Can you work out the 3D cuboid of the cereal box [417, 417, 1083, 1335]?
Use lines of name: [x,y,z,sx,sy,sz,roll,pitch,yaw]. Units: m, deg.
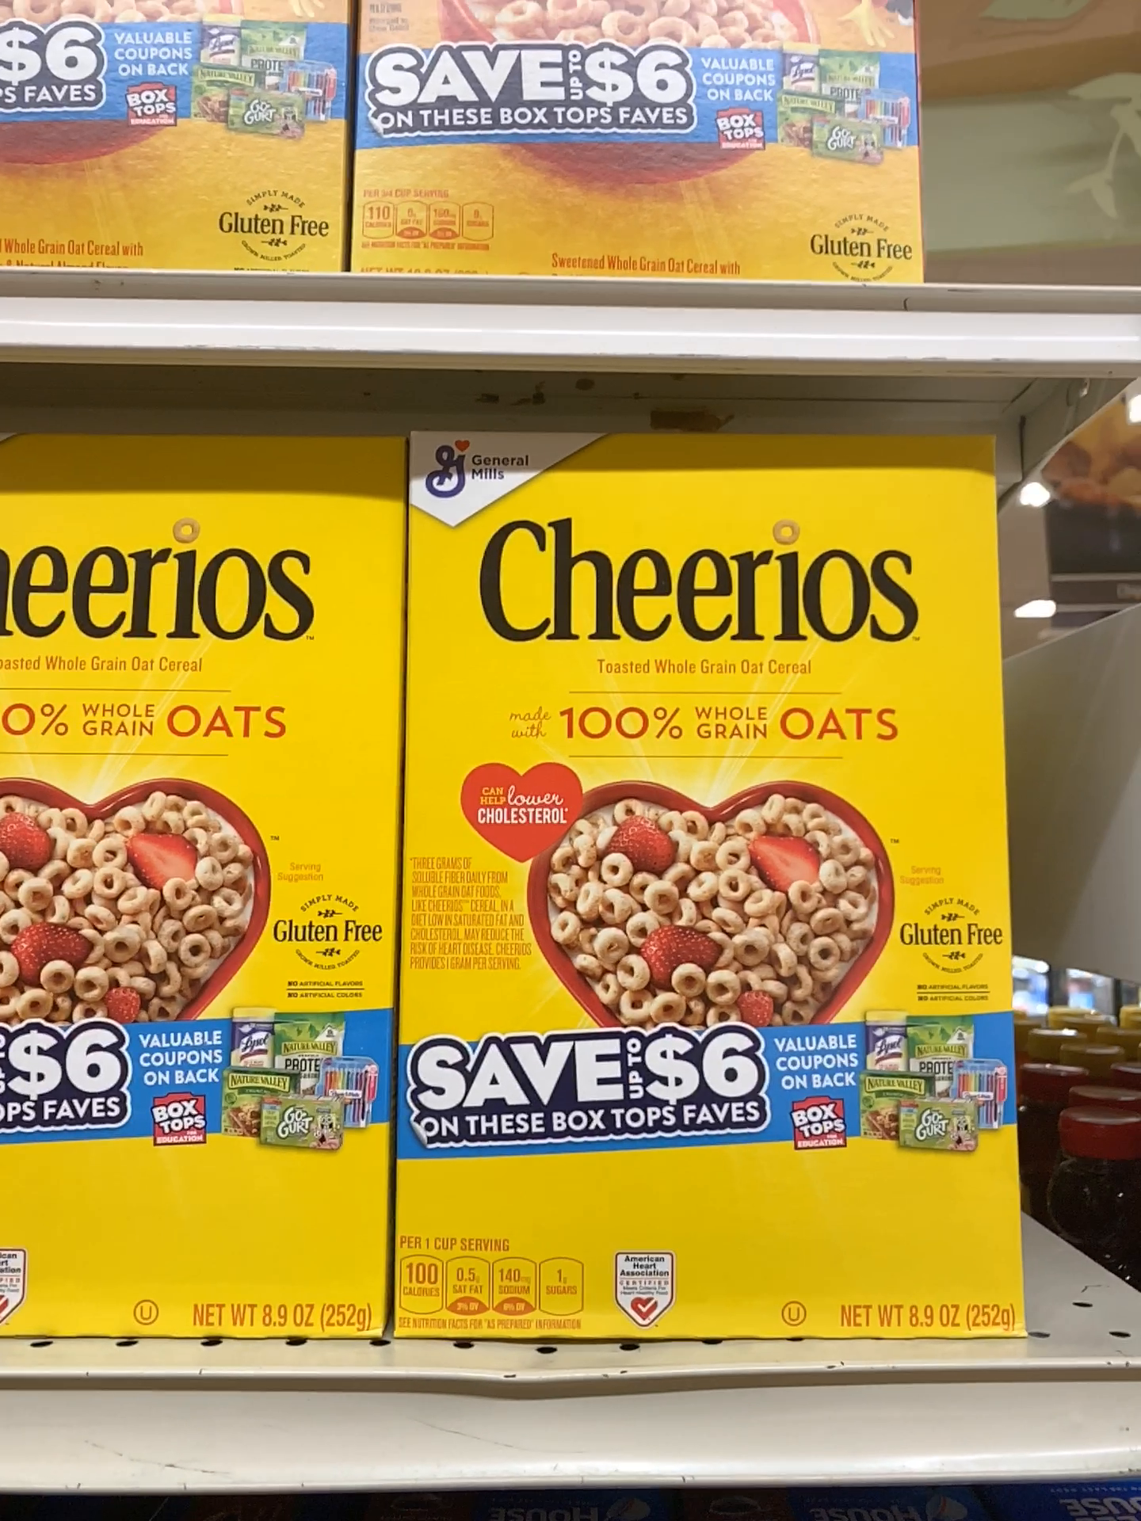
cereal box: [0.051,0.031,0.374,0.190,0.270,0.050,0,-6,-1]
